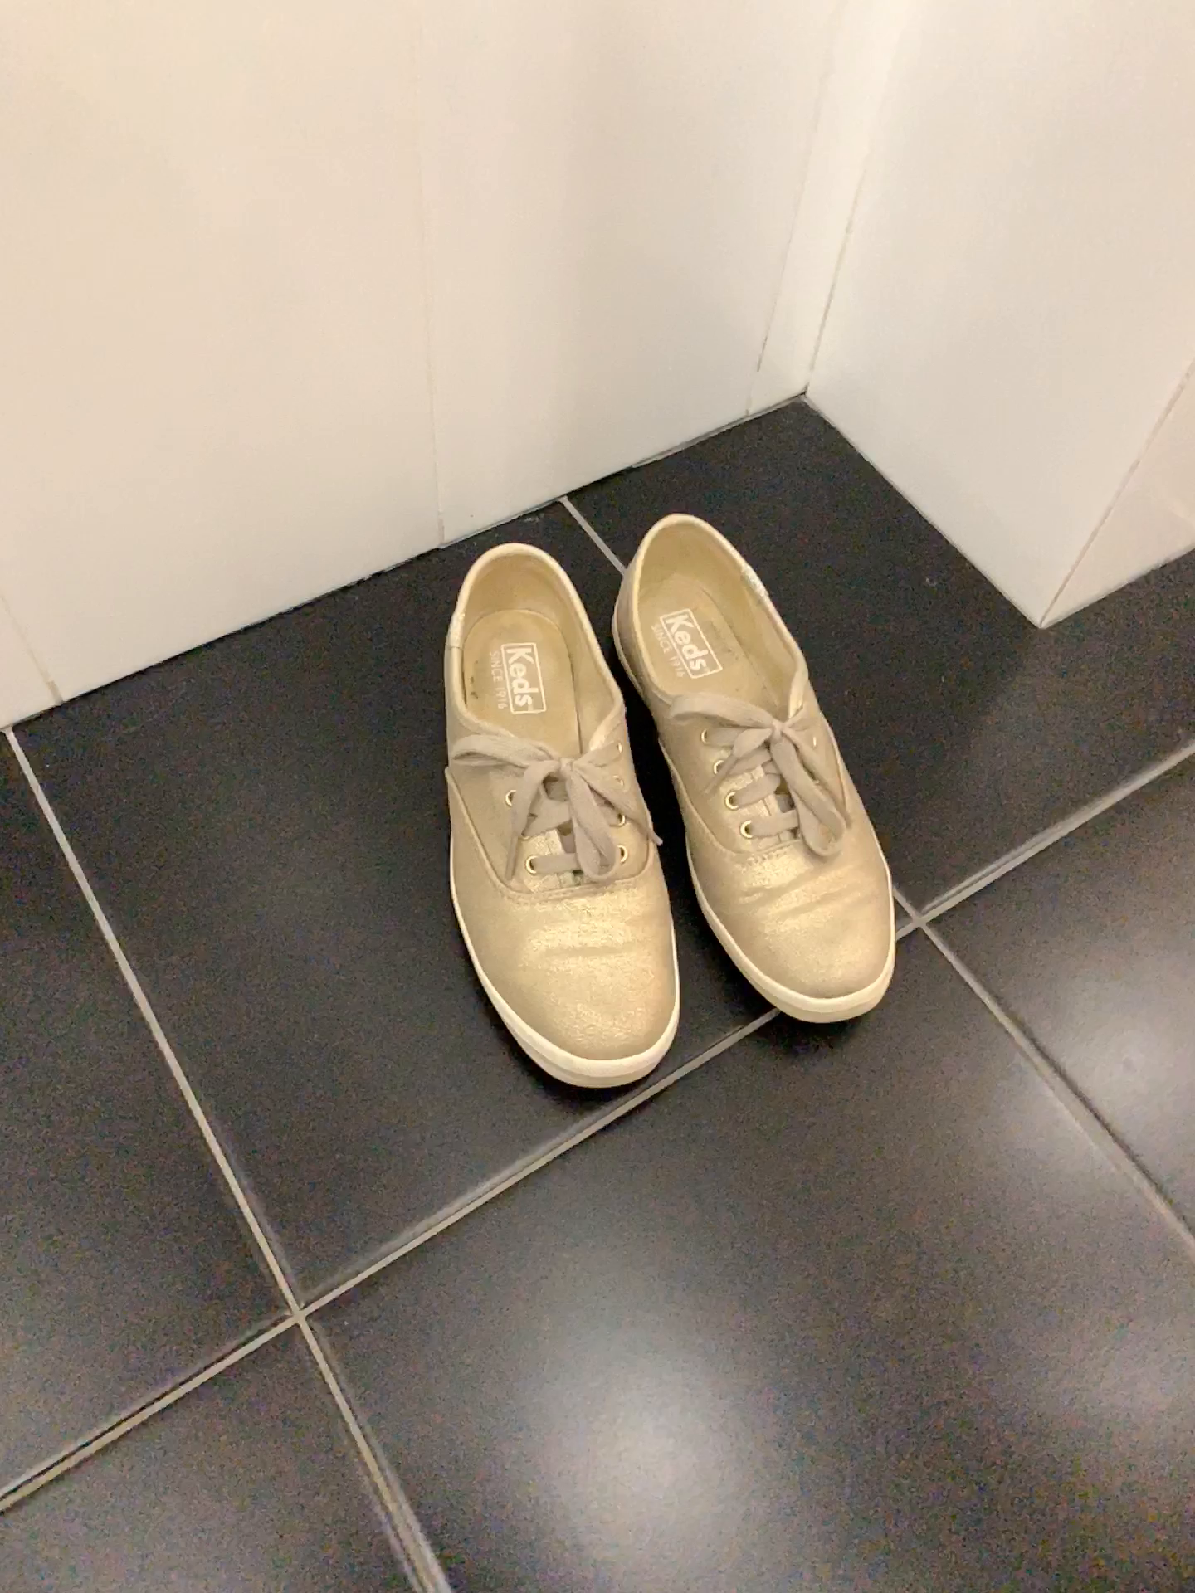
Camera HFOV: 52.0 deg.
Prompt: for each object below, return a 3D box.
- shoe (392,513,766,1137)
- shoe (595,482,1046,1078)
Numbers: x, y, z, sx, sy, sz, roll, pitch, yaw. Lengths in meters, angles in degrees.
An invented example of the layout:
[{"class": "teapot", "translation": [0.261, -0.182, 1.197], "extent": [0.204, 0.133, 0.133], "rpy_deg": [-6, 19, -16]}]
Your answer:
[{"class": "shoe", "translation": [-0.019, 0.005, 0.511], "extent": [0.090, 0.100, 0.231], "rpy_deg": [-10, 59, -12]}, {"class": "shoe", "translation": [0.081, -0.013, 0.536], "extent": [0.090, 0.100, 0.231], "rpy_deg": [-13, 60, -14]}]
